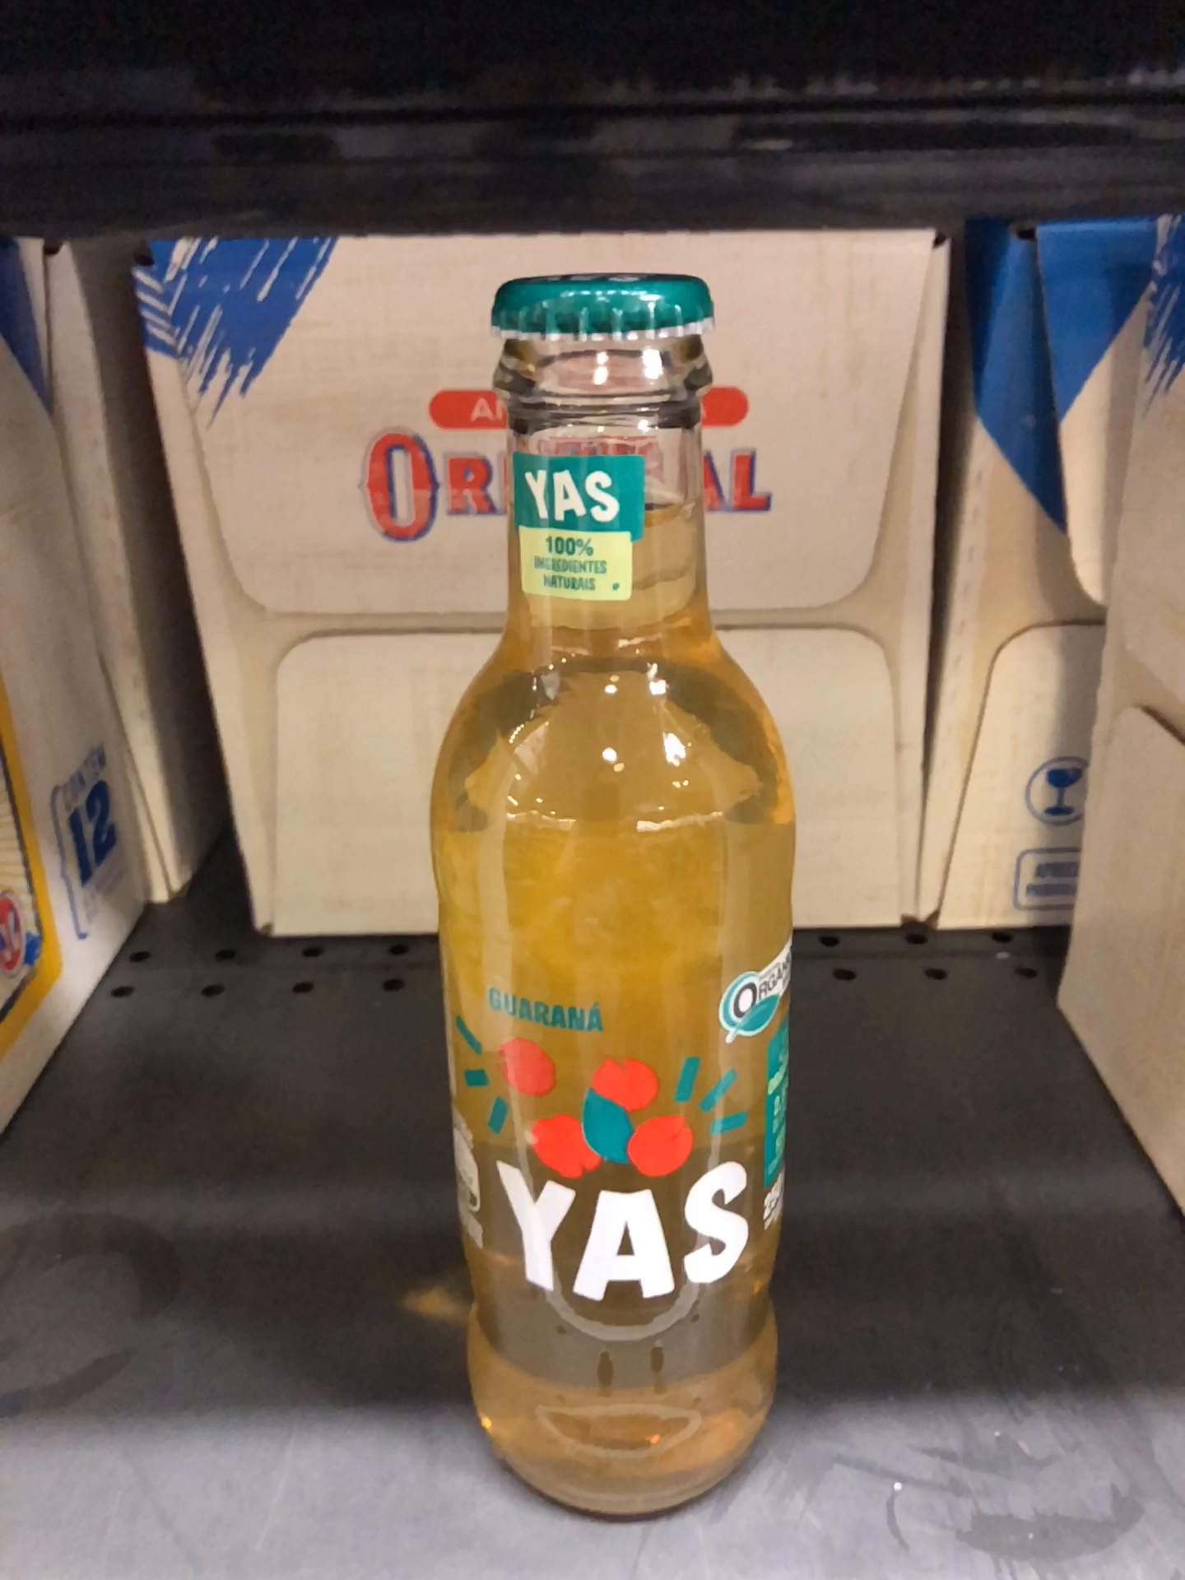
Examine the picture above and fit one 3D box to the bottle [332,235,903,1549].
[{"bbox_3d":[0.004,0.023,0.208,0.060,0.199,0.060,-1,25,1],"label":"bottle"}]
